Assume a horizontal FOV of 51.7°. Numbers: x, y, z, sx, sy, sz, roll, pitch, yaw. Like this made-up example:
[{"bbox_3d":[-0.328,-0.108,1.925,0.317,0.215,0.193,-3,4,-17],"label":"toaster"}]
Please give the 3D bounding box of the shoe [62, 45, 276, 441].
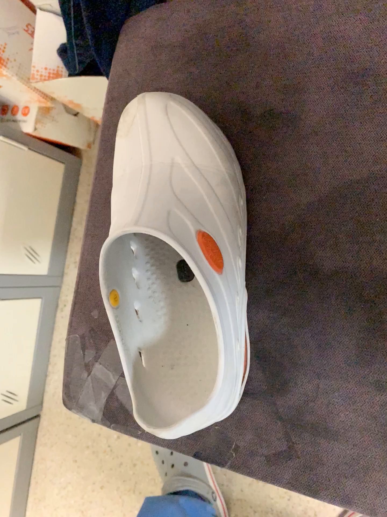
[{"bbox_3d":[-0.013,-0.005,0.271,0.091,0.093,0.213,-9,83,21],"label":"shoe"}]
